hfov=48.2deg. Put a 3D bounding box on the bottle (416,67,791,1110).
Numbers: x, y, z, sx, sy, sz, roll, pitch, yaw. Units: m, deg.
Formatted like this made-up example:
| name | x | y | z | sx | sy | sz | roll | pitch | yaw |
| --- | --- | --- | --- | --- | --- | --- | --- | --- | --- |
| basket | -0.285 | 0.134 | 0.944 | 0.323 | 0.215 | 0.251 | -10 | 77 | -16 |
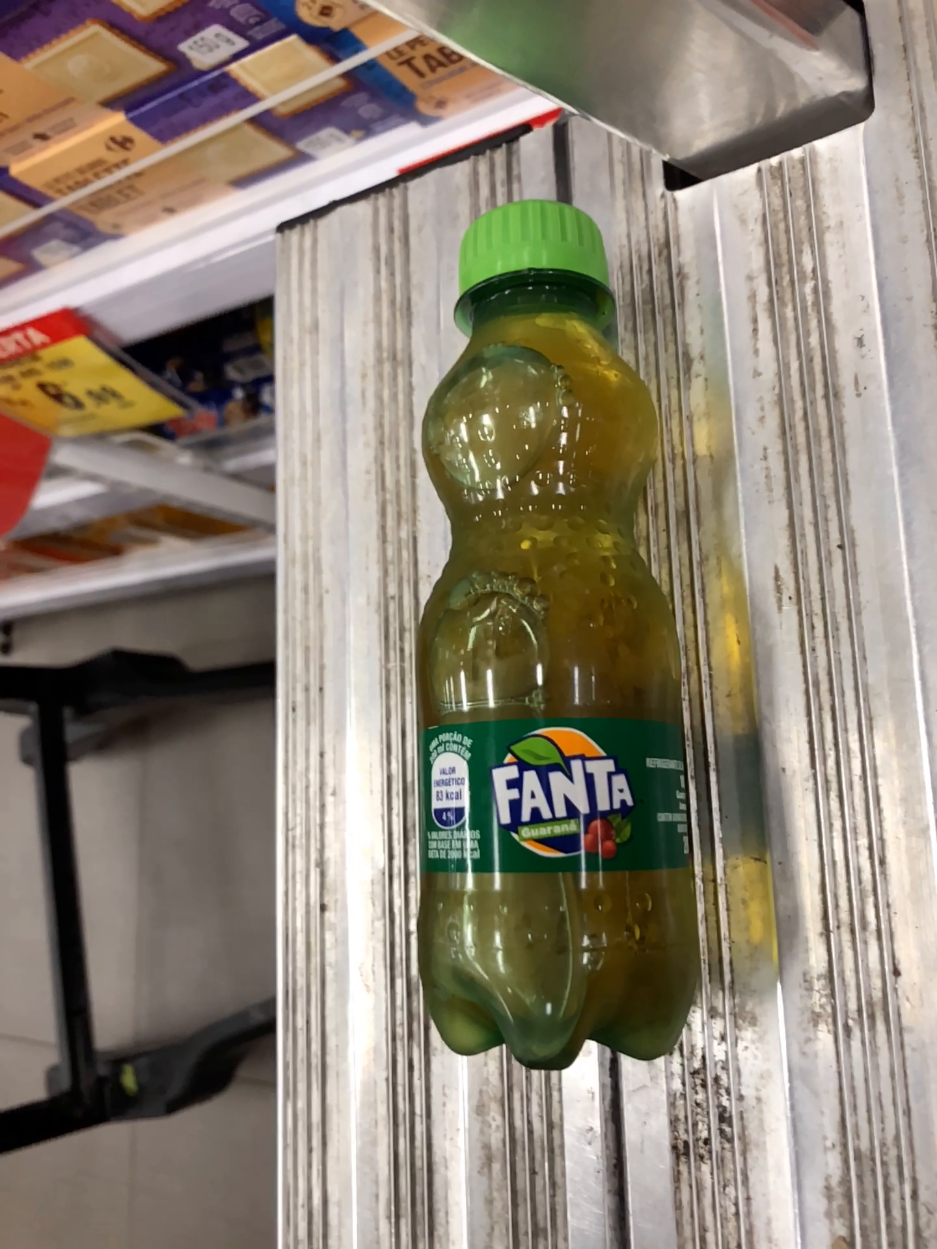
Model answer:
| name | x | y | z | sx | sy | sz | roll | pitch | yaw |
| --- | --- | --- | --- | --- | --- | --- | --- | --- | --- |
| bottle | 0.021 | -0.008 | 0.196 | 0.050 | 0.050 | 0.170 | 139 | 133 | -74 |
